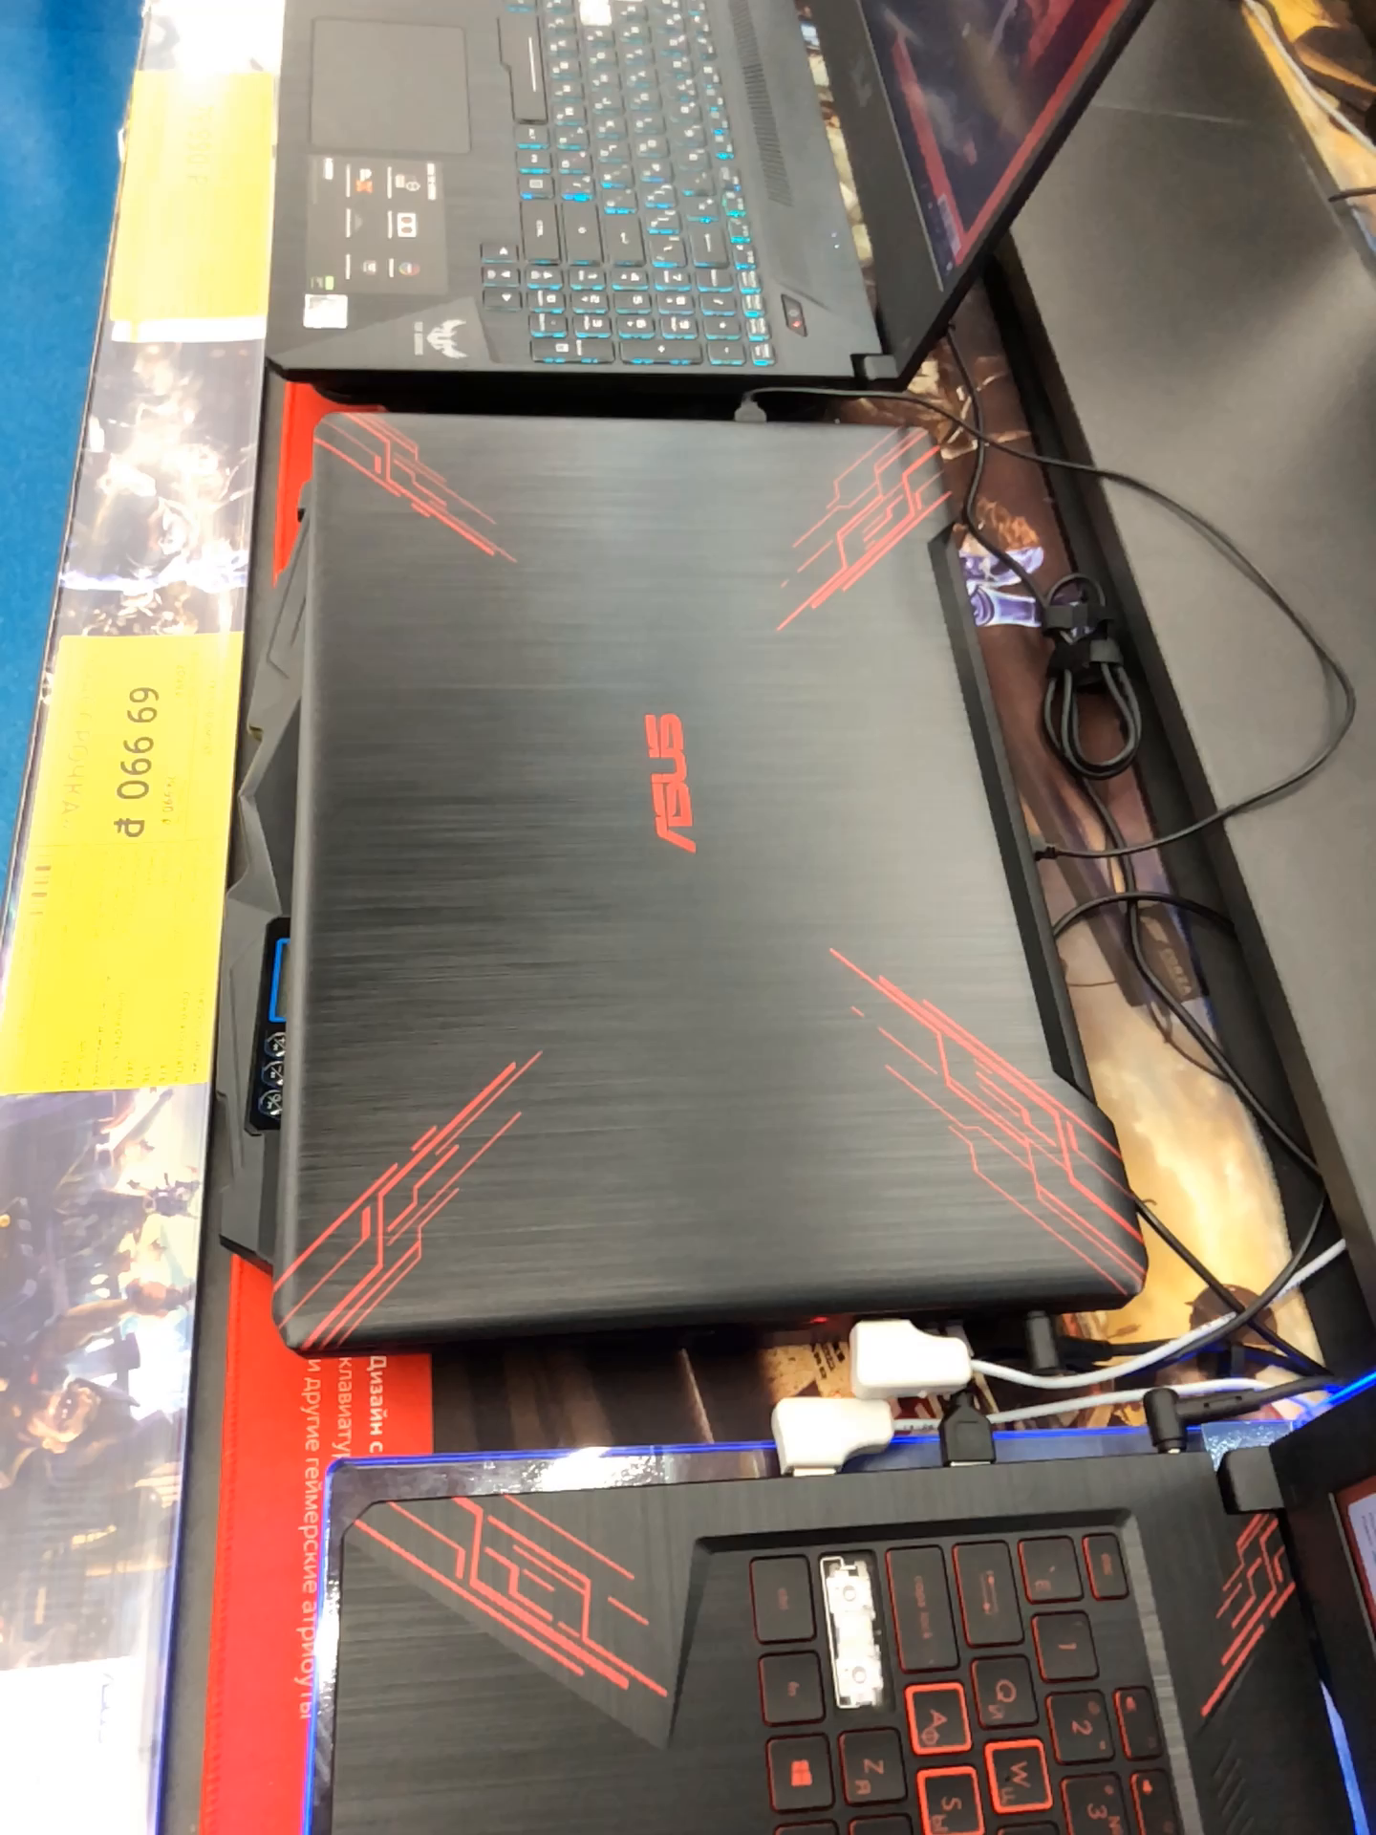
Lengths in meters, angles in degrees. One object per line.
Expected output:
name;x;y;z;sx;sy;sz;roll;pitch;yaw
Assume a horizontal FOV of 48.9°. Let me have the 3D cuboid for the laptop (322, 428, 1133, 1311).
laptop;-0.003;-0.046;0.533;0.239;0.003;0.359;-1;58;-10
